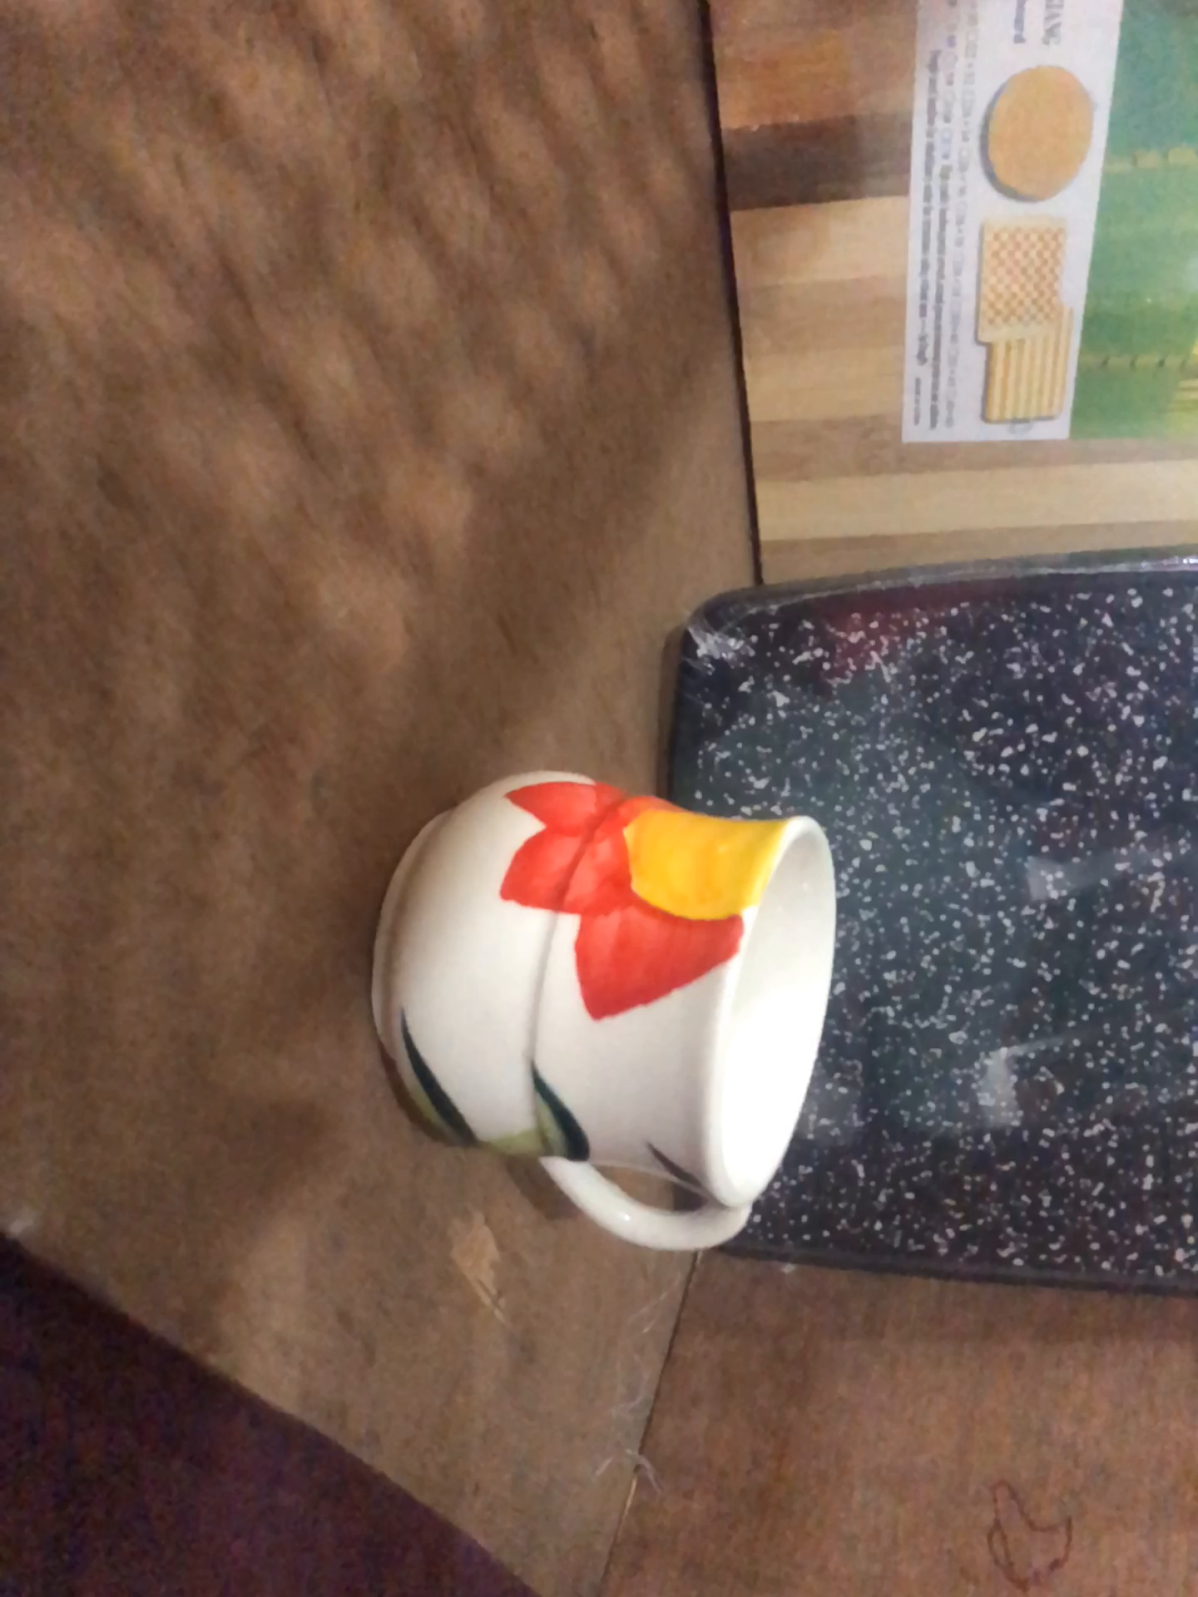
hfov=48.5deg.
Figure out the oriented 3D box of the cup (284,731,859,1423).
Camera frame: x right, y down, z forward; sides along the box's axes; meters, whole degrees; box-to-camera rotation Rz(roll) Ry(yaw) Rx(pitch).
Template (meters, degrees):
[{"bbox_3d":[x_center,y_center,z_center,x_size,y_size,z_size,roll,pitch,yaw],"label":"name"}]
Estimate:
[{"bbox_3d":[0.004,0.046,0.219,0.090,0.060,0.060,76,31,-41],"label":"cup"}]
